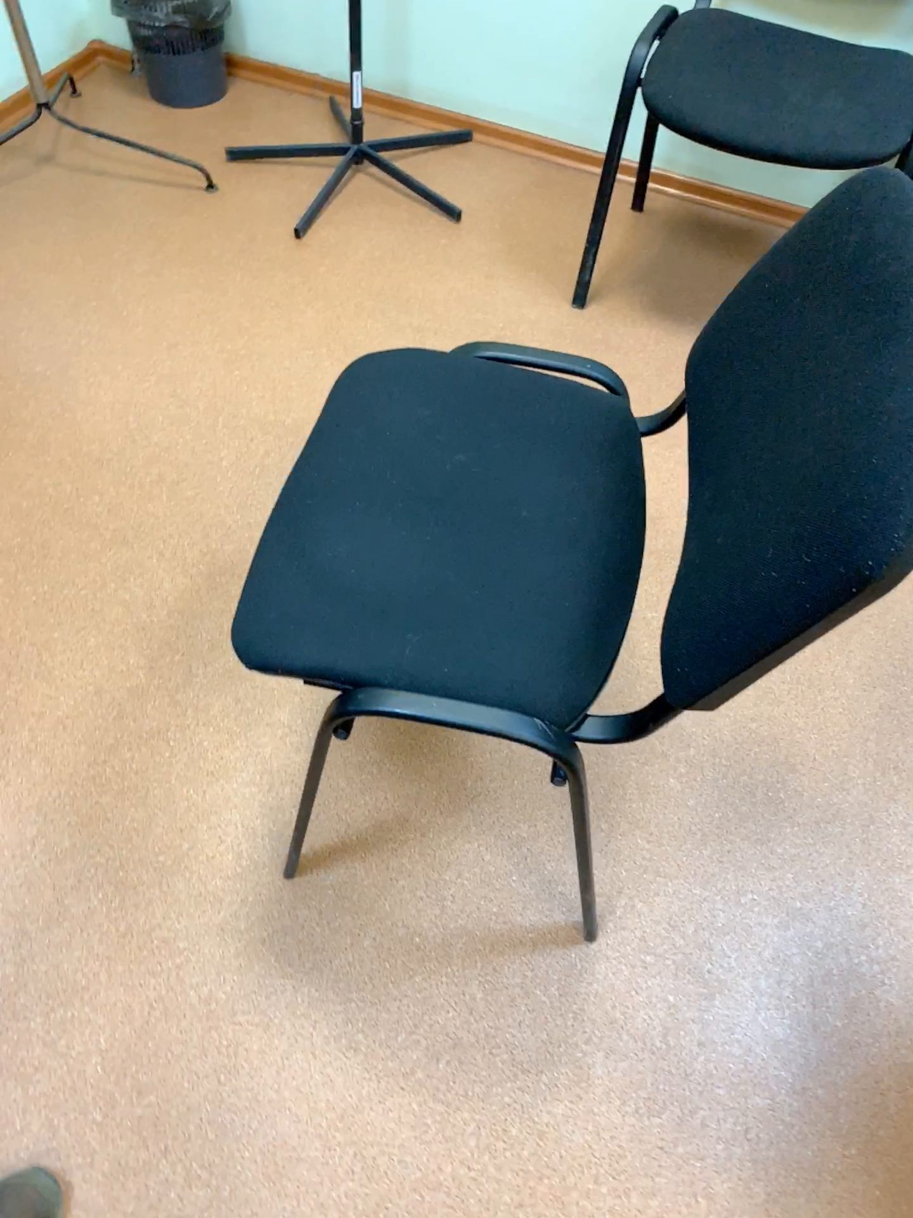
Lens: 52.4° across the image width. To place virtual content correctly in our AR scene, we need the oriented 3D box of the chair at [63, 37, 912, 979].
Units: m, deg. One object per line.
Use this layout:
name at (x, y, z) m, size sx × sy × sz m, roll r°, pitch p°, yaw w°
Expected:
chair at (0.089, -0.054, 1.044) m, size 0.590 × 0.784 × 0.578 m, roll 12°, pitch 54°, yaw 6°
